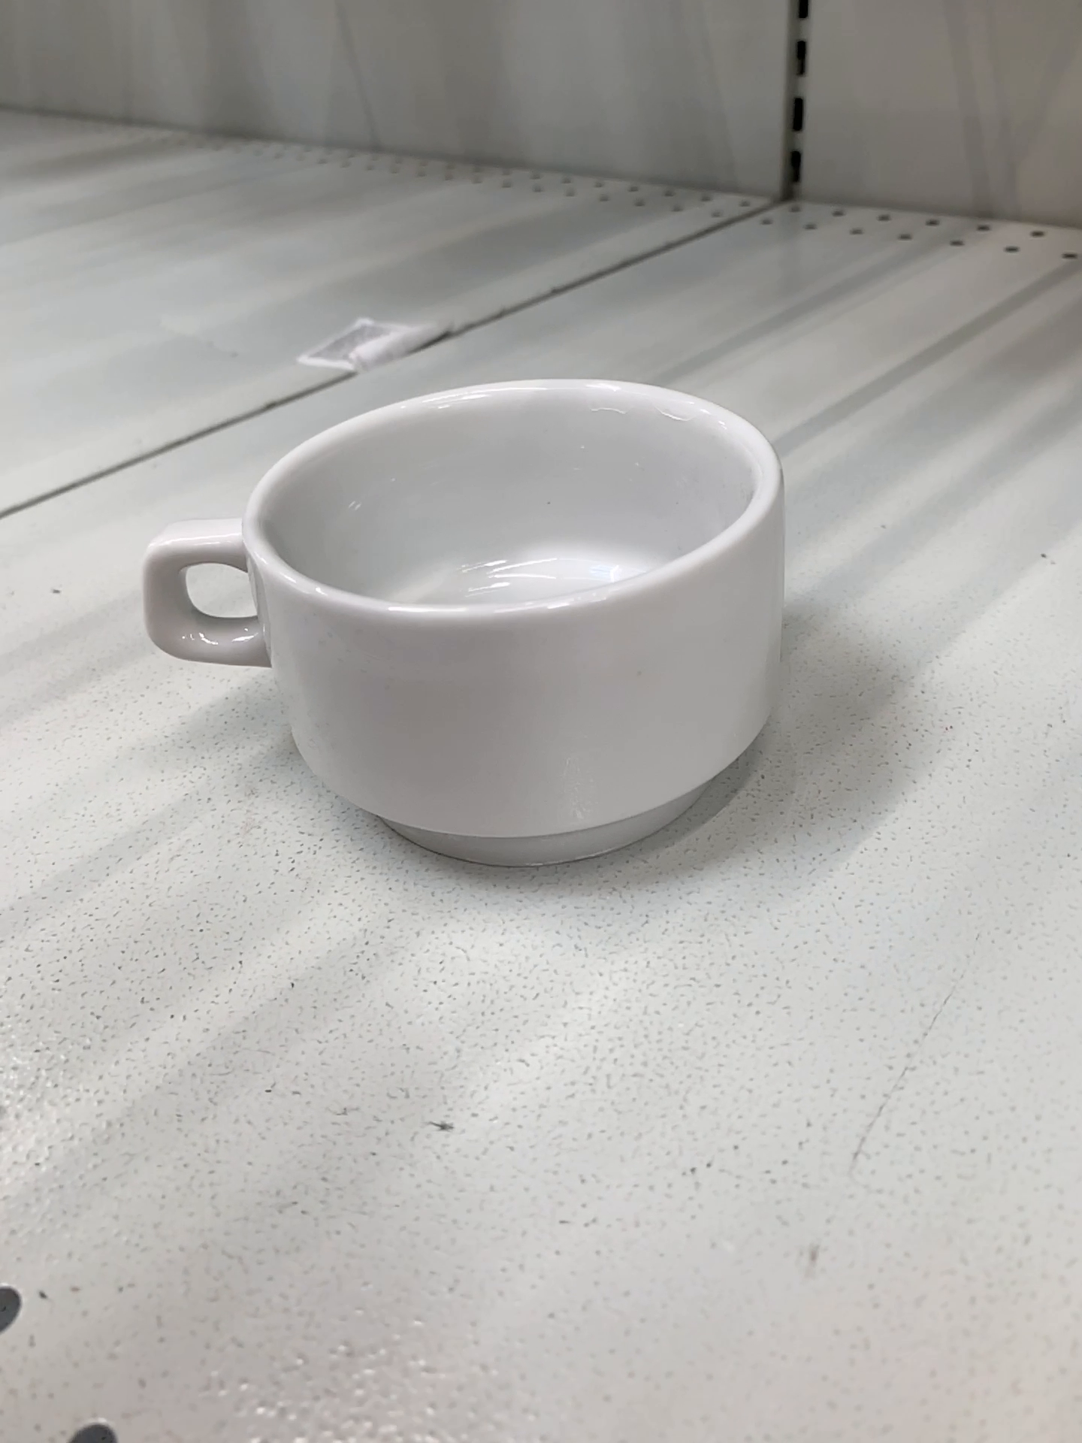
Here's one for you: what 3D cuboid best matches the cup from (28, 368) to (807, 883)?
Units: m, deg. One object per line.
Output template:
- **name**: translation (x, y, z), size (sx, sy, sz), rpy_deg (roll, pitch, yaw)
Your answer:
- **cup**: translation (-0.013, -0.022, 0.208), size (0.111, 0.051, 0.091), rpy_deg (0, 37, 8)
